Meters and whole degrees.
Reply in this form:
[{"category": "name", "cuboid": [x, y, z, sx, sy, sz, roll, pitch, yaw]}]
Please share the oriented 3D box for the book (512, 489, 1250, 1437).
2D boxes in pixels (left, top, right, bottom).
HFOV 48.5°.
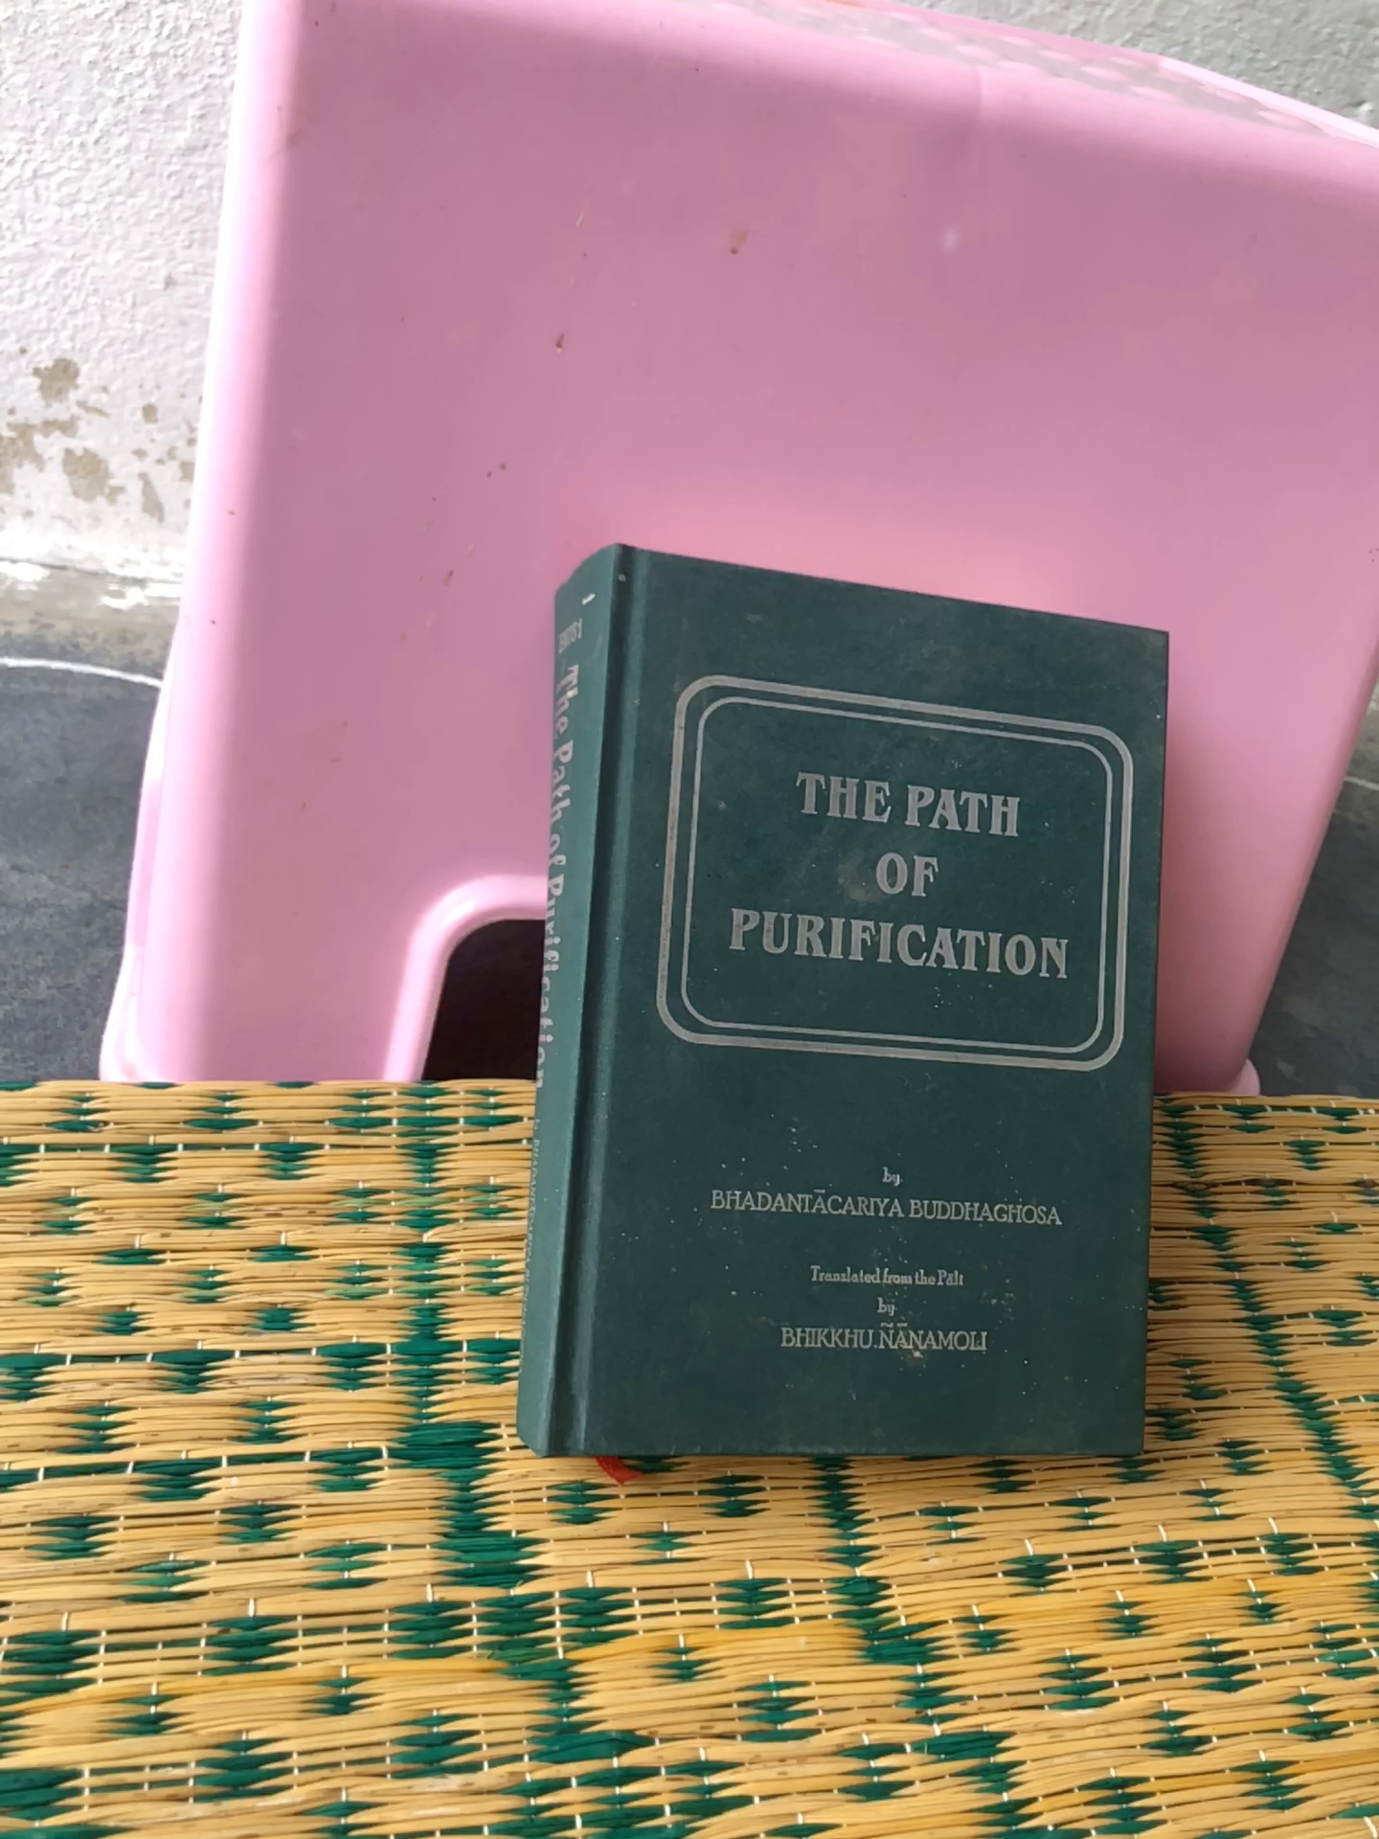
[{"category": "book", "cuboid": [0.046, 0.016, 0.392, 0.160, 0.080, 0.210, 5, 78, -13]}]
